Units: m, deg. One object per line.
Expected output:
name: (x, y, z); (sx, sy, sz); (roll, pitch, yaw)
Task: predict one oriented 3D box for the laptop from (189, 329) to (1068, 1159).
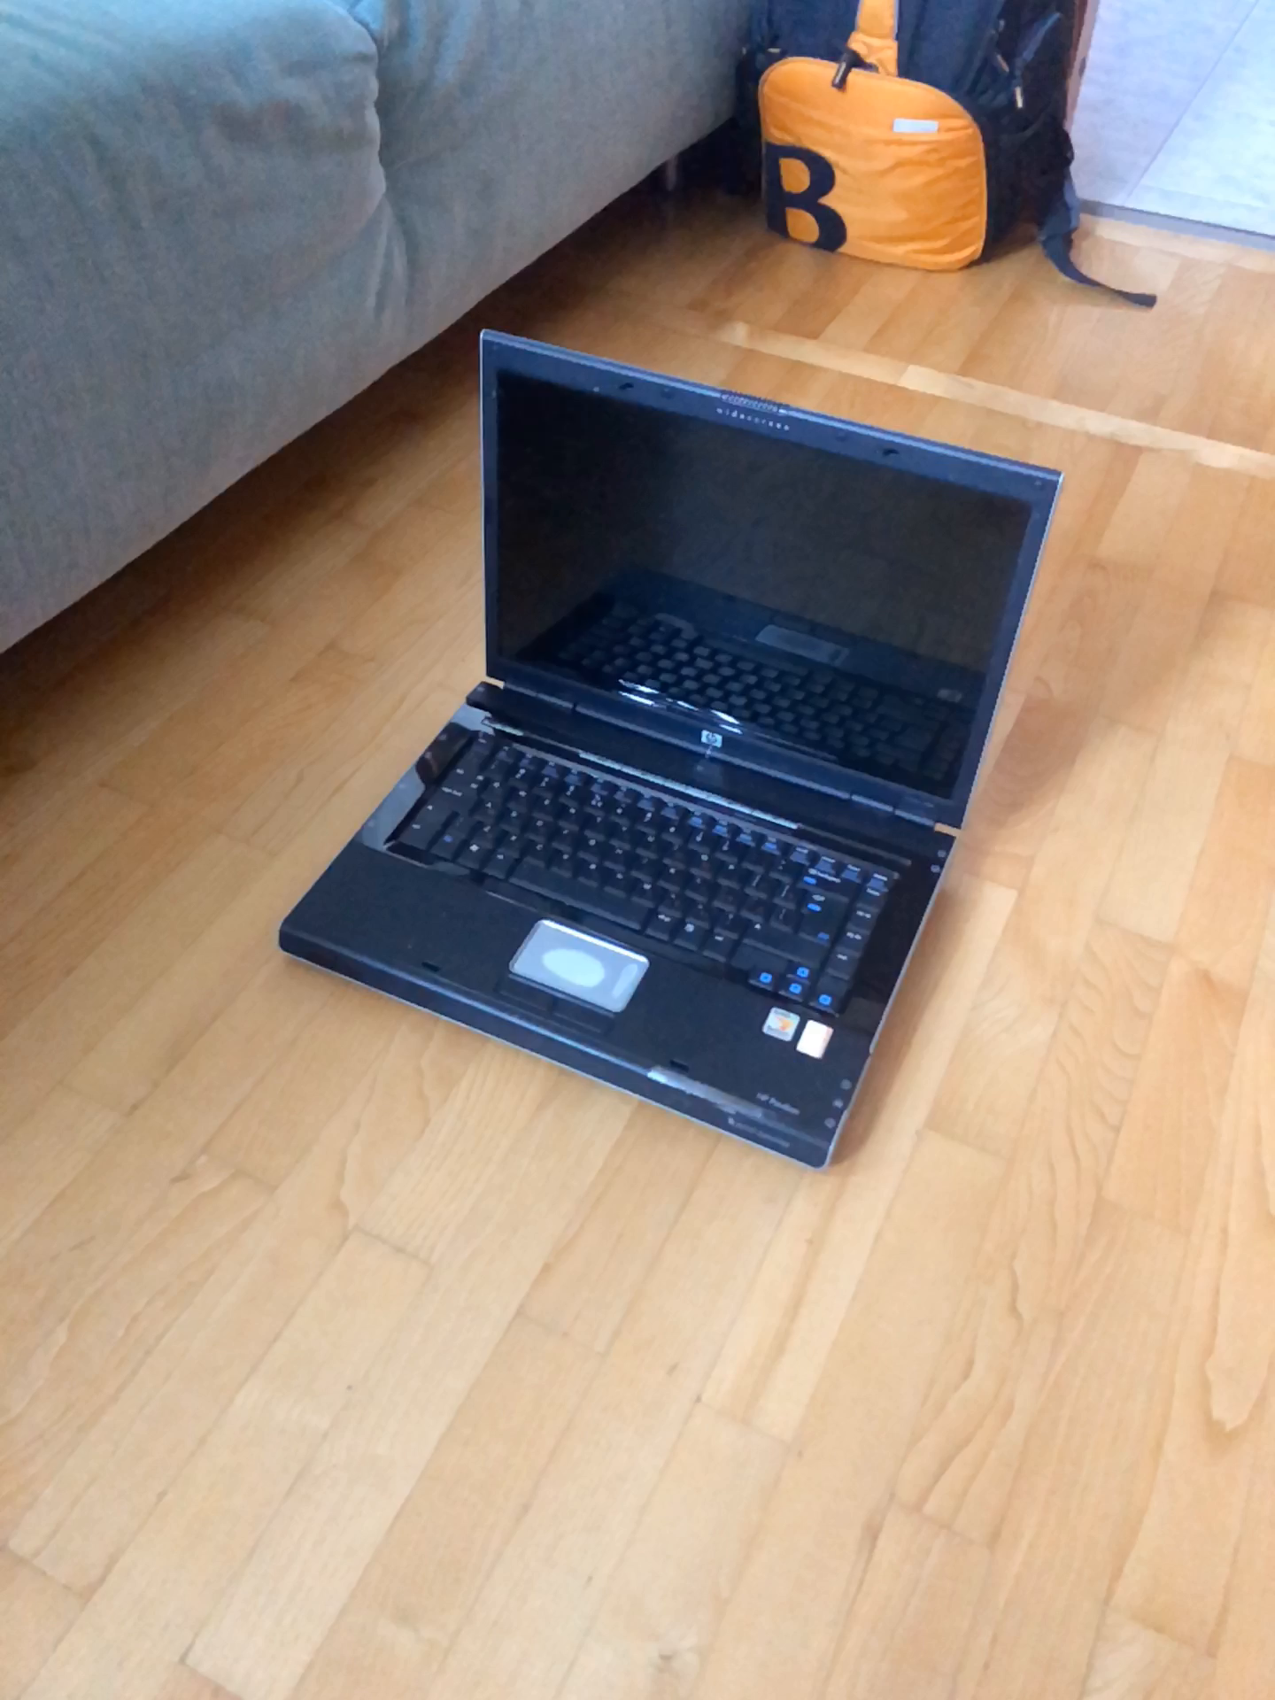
laptop: (0.006, -0.078, 0.822); (0.363, 0.254, 0.308); (19, 50, 16)
